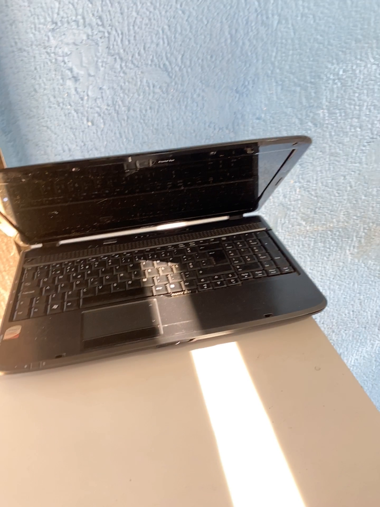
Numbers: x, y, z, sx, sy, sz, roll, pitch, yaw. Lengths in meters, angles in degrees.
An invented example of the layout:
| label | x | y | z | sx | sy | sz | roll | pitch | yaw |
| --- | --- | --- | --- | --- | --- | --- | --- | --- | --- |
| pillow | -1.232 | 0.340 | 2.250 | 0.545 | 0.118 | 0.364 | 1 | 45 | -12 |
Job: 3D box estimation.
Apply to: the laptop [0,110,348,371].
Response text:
| label | x | y | z | sx | sy | sz | roll | pitch | yaw |
| --- | --- | --- | --- | --- | --- | --- | --- | --- | --- |
| laptop | -0.049 | -0.045 | 0.489 | 0.378 | 0.174 | 0.237 | -9 | 32 | -9 |
